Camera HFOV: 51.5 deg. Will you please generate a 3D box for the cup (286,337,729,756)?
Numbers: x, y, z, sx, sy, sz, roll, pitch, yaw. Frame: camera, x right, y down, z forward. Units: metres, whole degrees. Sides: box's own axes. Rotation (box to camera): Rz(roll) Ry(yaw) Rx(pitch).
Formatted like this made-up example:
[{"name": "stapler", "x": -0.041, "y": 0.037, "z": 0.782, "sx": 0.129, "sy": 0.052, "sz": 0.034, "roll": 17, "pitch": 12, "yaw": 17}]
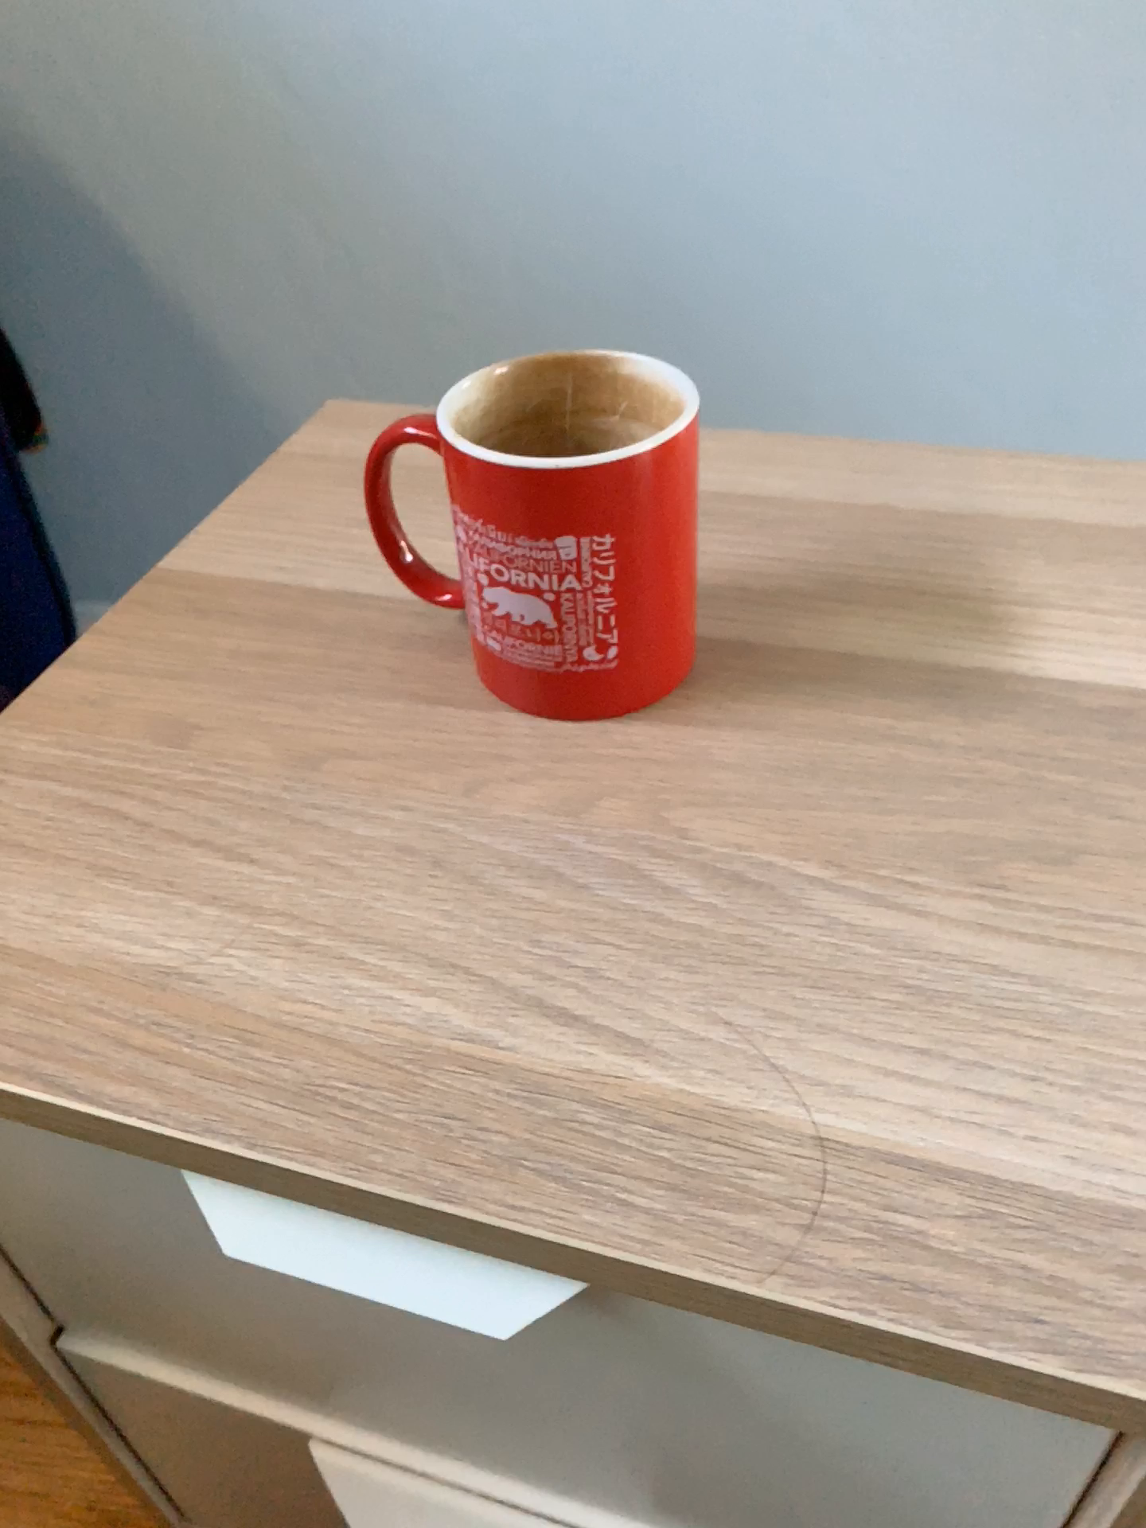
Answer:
[{"name": "cup", "x": -0.017, "y": -0.076, "z": 0.403, "sx": 0.120, "sy": 0.099, "sz": 0.070, "roll": 15, "pitch": 45, "yaw": 21}]
